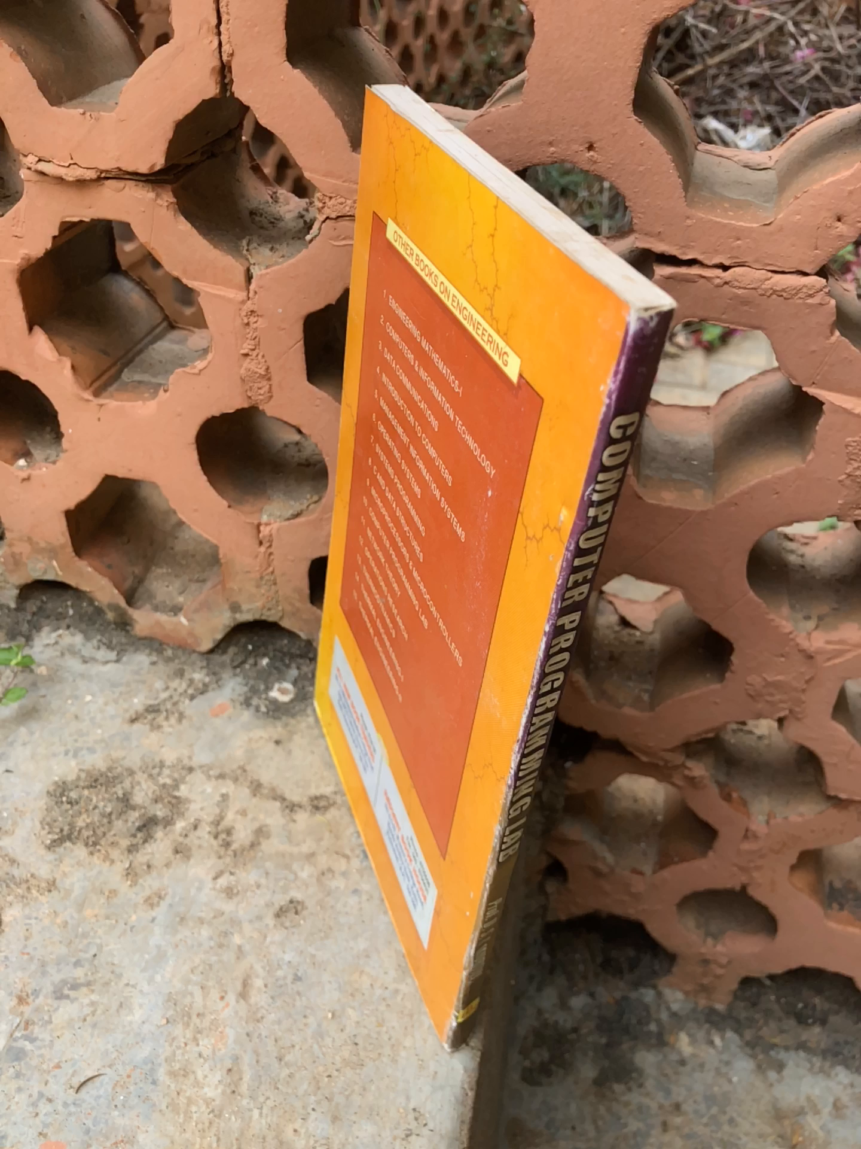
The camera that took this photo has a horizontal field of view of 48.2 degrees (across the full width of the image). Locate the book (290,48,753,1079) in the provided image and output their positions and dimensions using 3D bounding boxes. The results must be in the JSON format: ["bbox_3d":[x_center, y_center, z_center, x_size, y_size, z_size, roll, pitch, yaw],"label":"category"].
[{"bbox_3d":[-0.005,-0.002,0.291,0.020,0.249,0.181,-5,38,-21],"label":"book"}]
